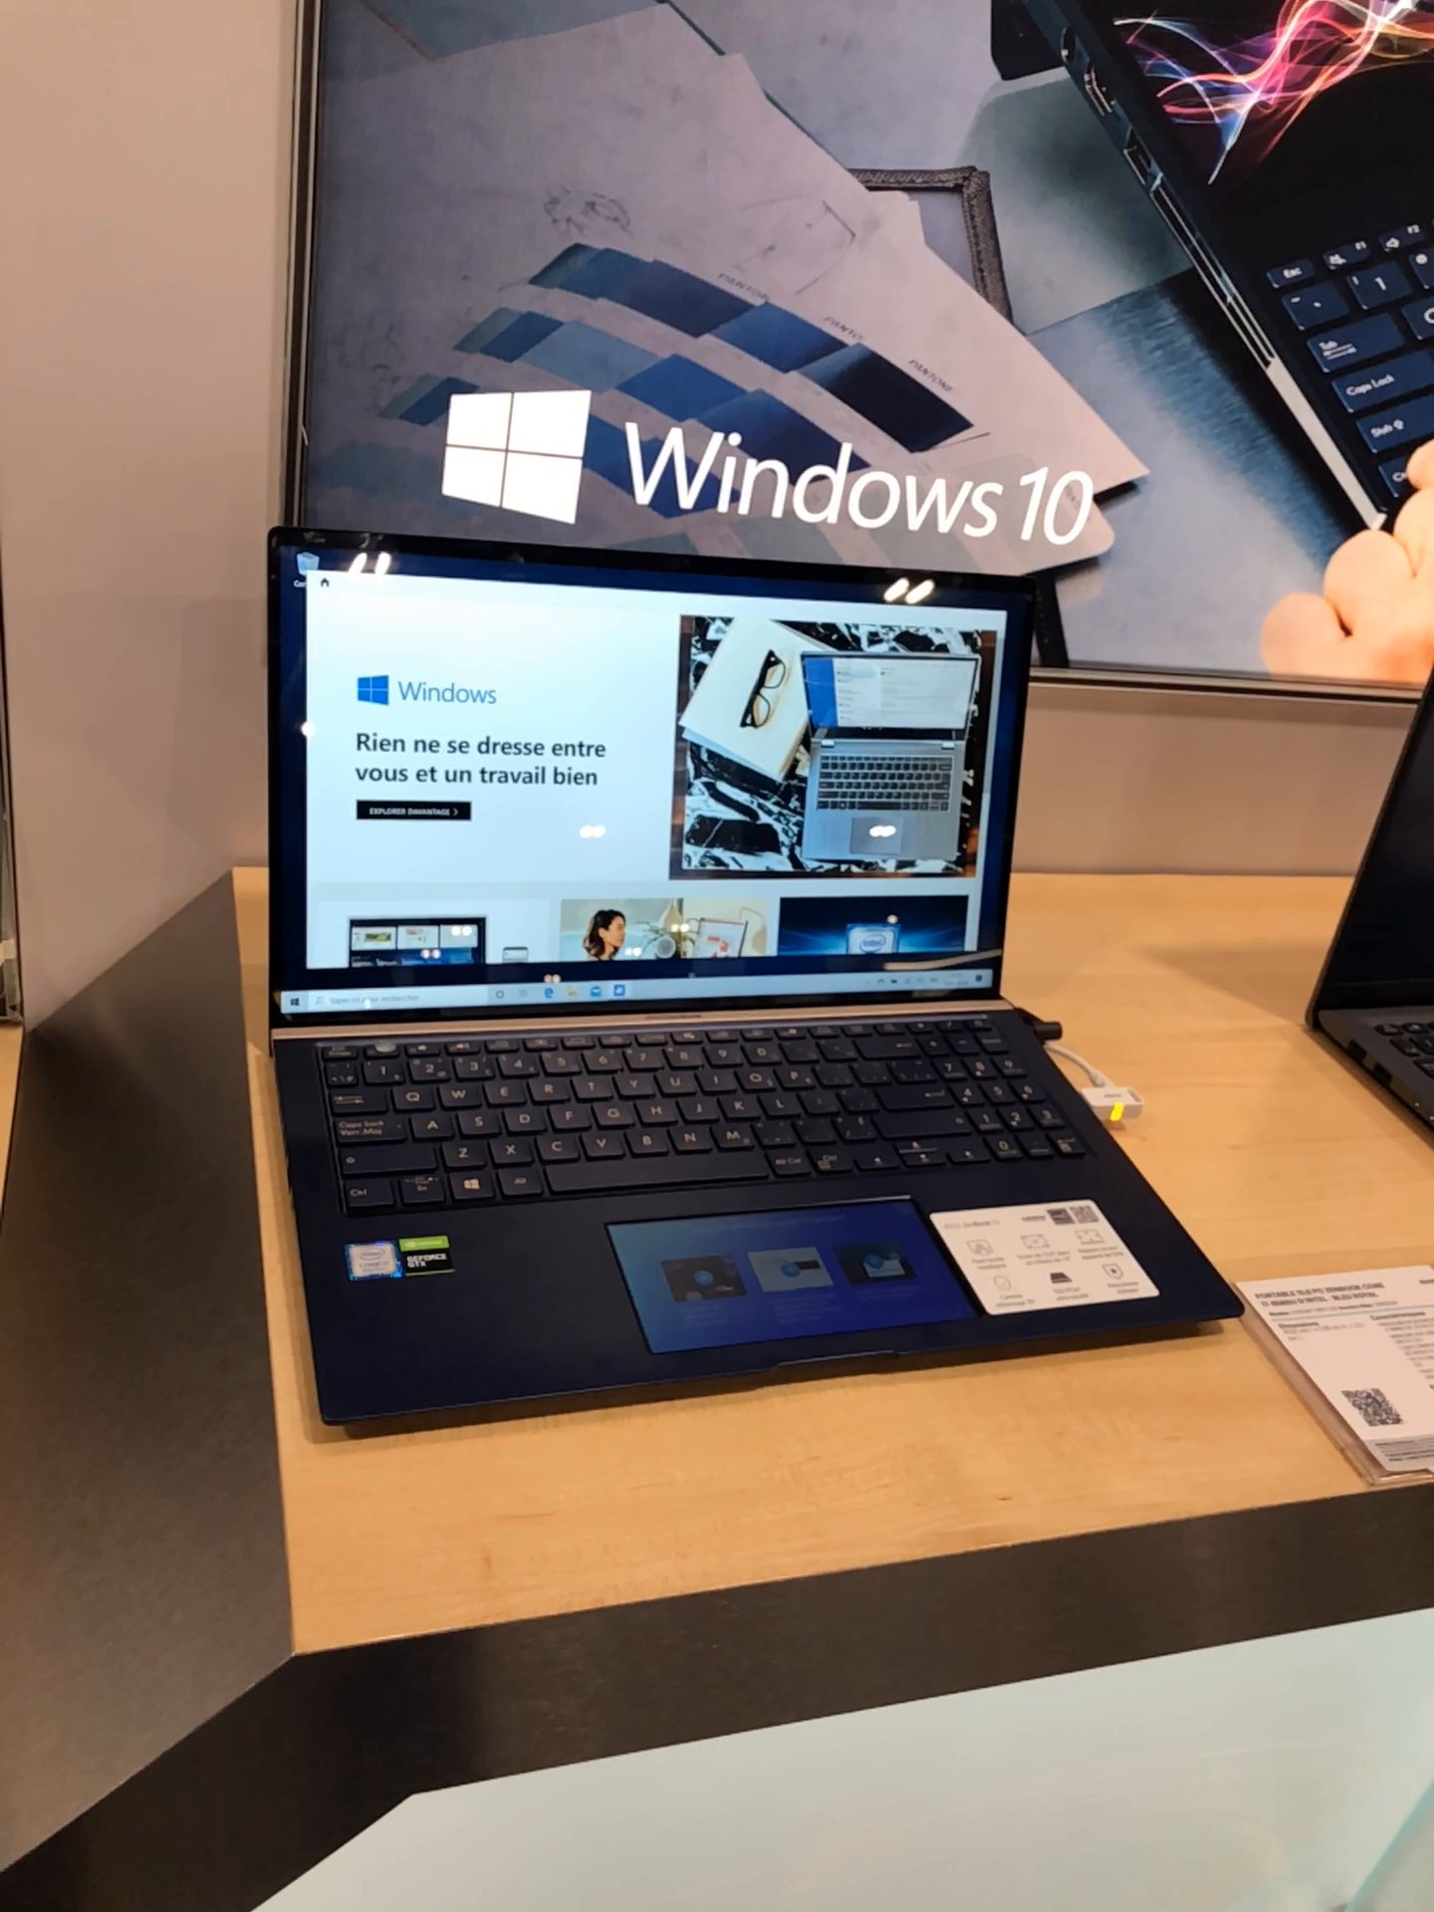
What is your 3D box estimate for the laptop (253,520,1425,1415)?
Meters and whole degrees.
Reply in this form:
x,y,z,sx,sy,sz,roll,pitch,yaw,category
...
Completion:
x,y,z,sx,sy,sz,roll,pitch,yaw,category
0.012,-0.015,0.601,0.338,0.183,0.274,-1,33,-21,laptop
